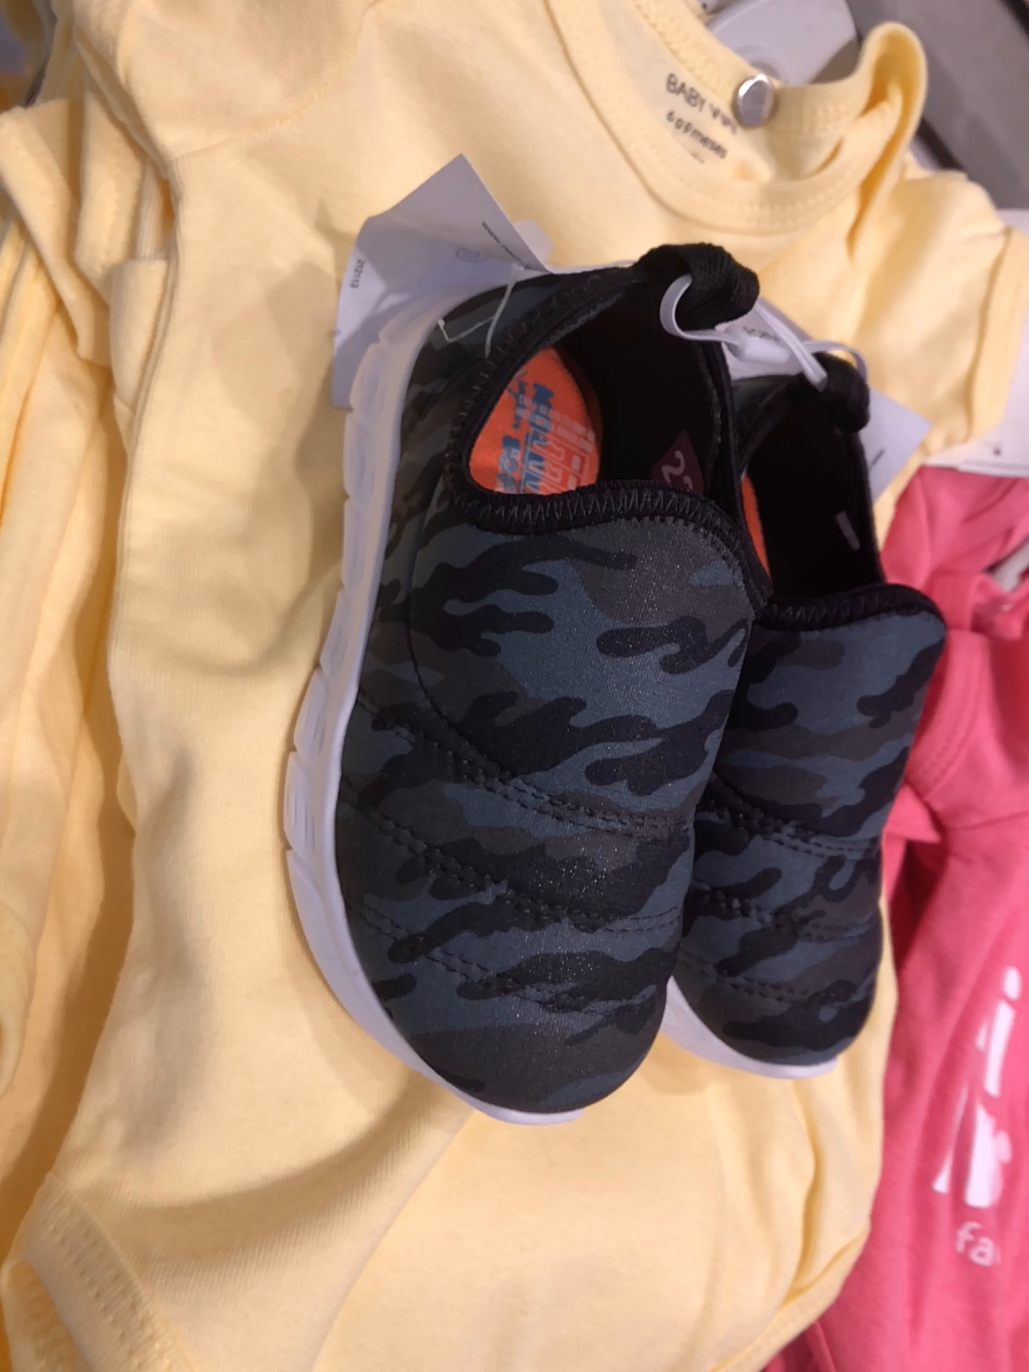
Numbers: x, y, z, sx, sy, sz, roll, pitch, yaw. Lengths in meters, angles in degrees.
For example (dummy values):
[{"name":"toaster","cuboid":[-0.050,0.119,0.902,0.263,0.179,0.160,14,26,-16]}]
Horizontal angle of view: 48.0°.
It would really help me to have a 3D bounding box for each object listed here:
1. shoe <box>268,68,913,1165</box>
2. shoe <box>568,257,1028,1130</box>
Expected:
[{"name":"shoe","cuboid":[0.010,-0.006,0.205,0.070,0.079,0.150,9,75,-39]},{"name":"shoe","cuboid":[0.069,0.004,0.245,0.070,0.070,0.150,0,81,-41]}]
